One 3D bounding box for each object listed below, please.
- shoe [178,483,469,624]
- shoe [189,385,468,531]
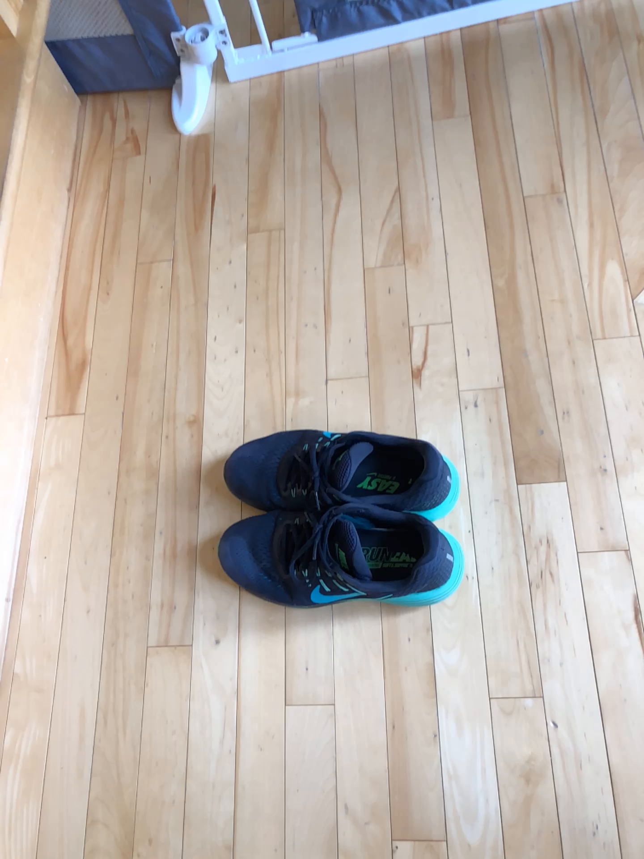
[{"bbox_3d":[0.009,0.134,0.762,0.290,0.100,0.120,1,69,11],"label":"shoe"},{"bbox_3d":[0.014,0.032,0.805,0.290,0.100,0.120,4,70,12],"label":"shoe"}]
